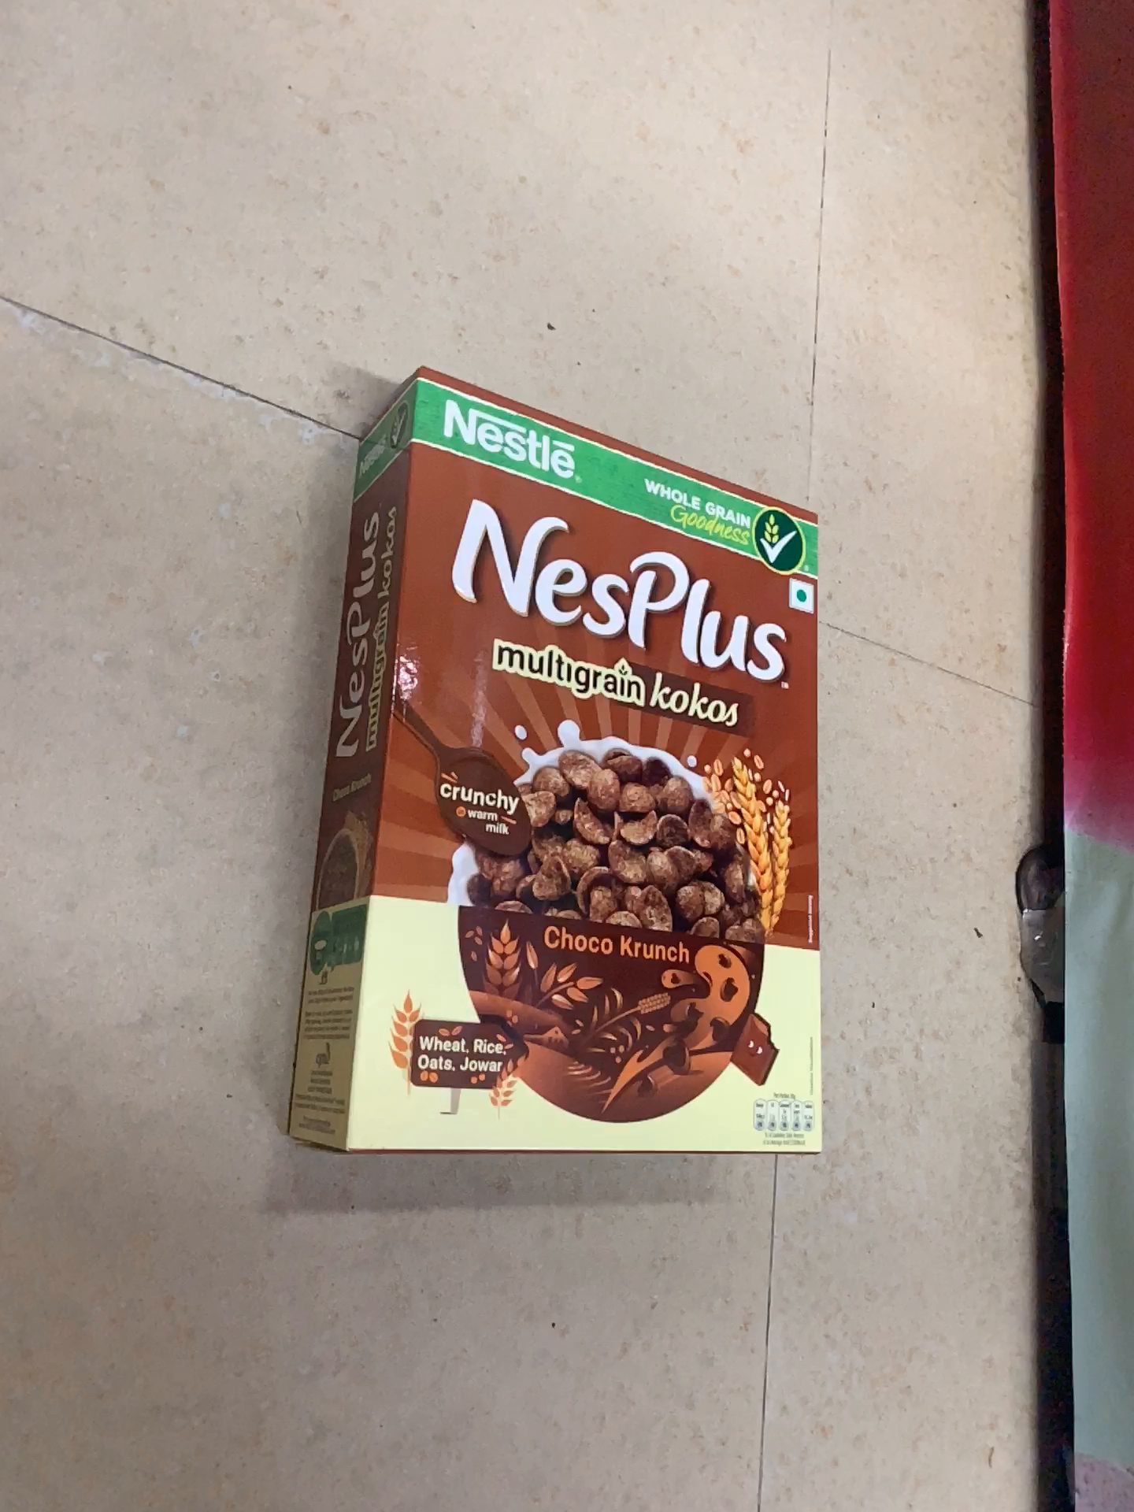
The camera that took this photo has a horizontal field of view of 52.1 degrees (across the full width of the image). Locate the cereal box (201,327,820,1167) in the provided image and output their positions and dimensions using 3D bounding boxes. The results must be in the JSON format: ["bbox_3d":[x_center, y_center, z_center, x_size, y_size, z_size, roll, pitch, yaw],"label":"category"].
[{"bbox_3d":[-0.009,0.011,0.465,0.211,0.090,0.280,12,73,-30],"label":"cereal box"}]
